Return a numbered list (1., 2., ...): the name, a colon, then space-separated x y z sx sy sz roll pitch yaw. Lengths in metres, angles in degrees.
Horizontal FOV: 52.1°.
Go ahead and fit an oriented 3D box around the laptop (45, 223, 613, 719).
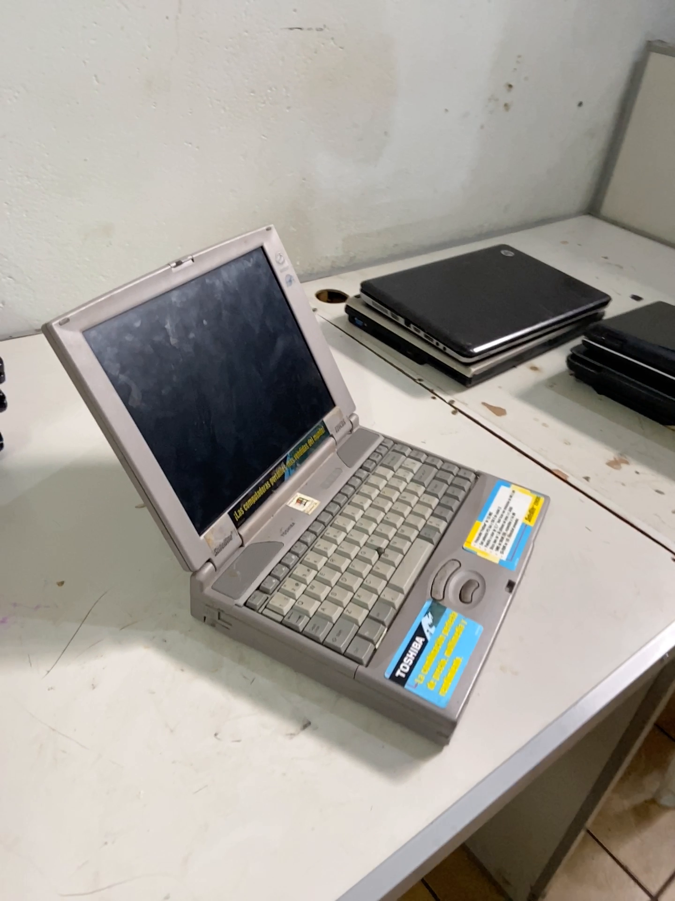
1. laptop: 0.006 -0.022 0.612 0.357 0.195 0.302 22 38 19
